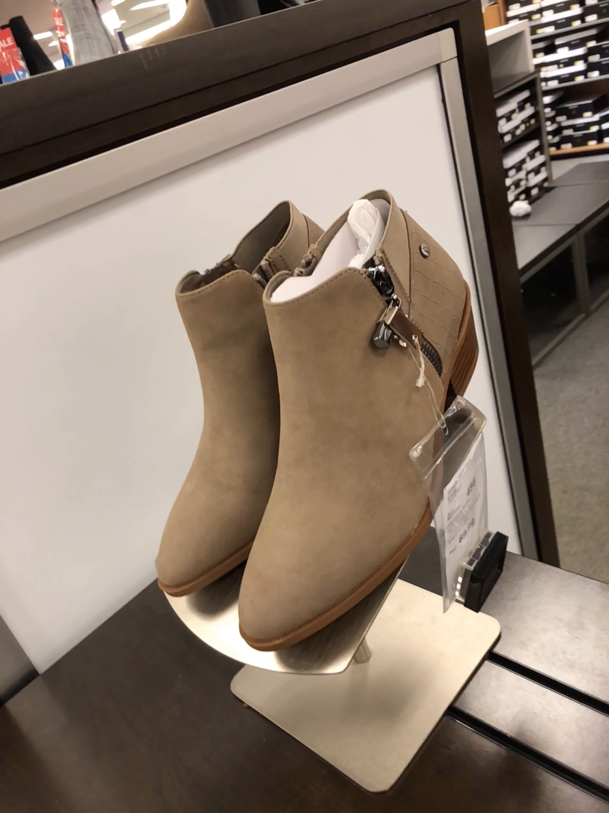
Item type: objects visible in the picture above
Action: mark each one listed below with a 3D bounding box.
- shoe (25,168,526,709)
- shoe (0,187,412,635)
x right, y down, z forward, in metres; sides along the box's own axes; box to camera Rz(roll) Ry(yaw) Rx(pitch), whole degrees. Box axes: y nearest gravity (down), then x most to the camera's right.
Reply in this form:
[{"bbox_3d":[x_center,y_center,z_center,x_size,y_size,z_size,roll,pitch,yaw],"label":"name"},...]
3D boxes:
[{"bbox_3d":[0.011,-0.001,0.363,0.095,0.153,0.240,9,41,43],"label":"shoe"},{"bbox_3d":[-0.051,-0.011,0.424,0.095,0.152,0.231,9,43,43],"label":"shoe"}]
